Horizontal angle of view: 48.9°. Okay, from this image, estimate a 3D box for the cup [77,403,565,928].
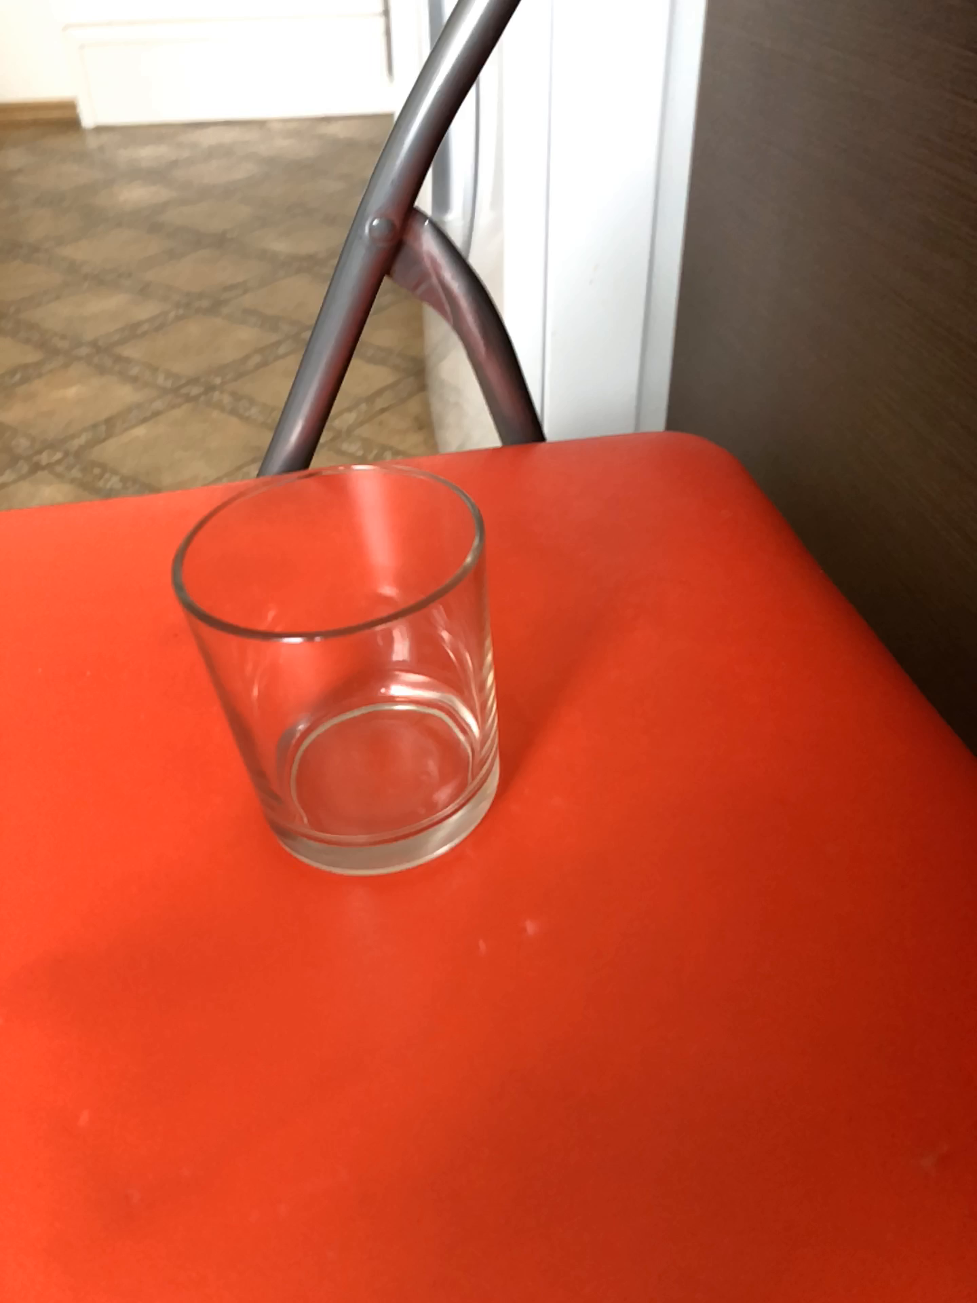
[{"bbox_3d":[-0.036,-0.001,0.274,0.078,0.082,0.080,-3,39,2],"label":"cup"}]
